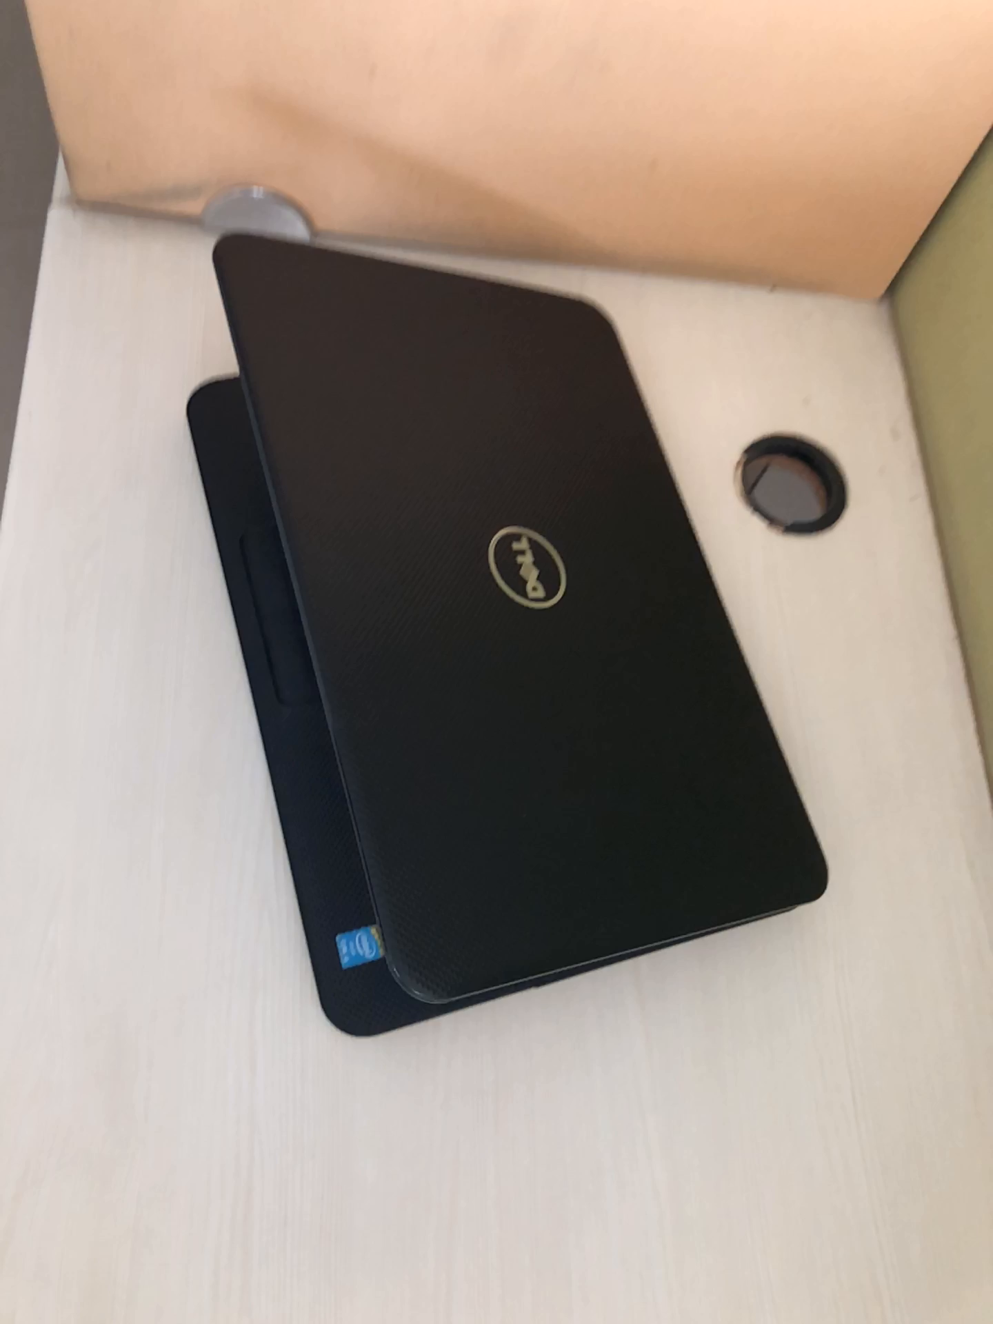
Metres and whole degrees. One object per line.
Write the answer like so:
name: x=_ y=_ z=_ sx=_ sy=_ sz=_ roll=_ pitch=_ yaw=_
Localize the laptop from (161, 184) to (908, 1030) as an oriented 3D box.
laptop: x=-0.002 y=-0.041 z=0.547 sx=0.247 sy=0.107 sz=0.367 roll=-13 pitch=70 yaw=-11
